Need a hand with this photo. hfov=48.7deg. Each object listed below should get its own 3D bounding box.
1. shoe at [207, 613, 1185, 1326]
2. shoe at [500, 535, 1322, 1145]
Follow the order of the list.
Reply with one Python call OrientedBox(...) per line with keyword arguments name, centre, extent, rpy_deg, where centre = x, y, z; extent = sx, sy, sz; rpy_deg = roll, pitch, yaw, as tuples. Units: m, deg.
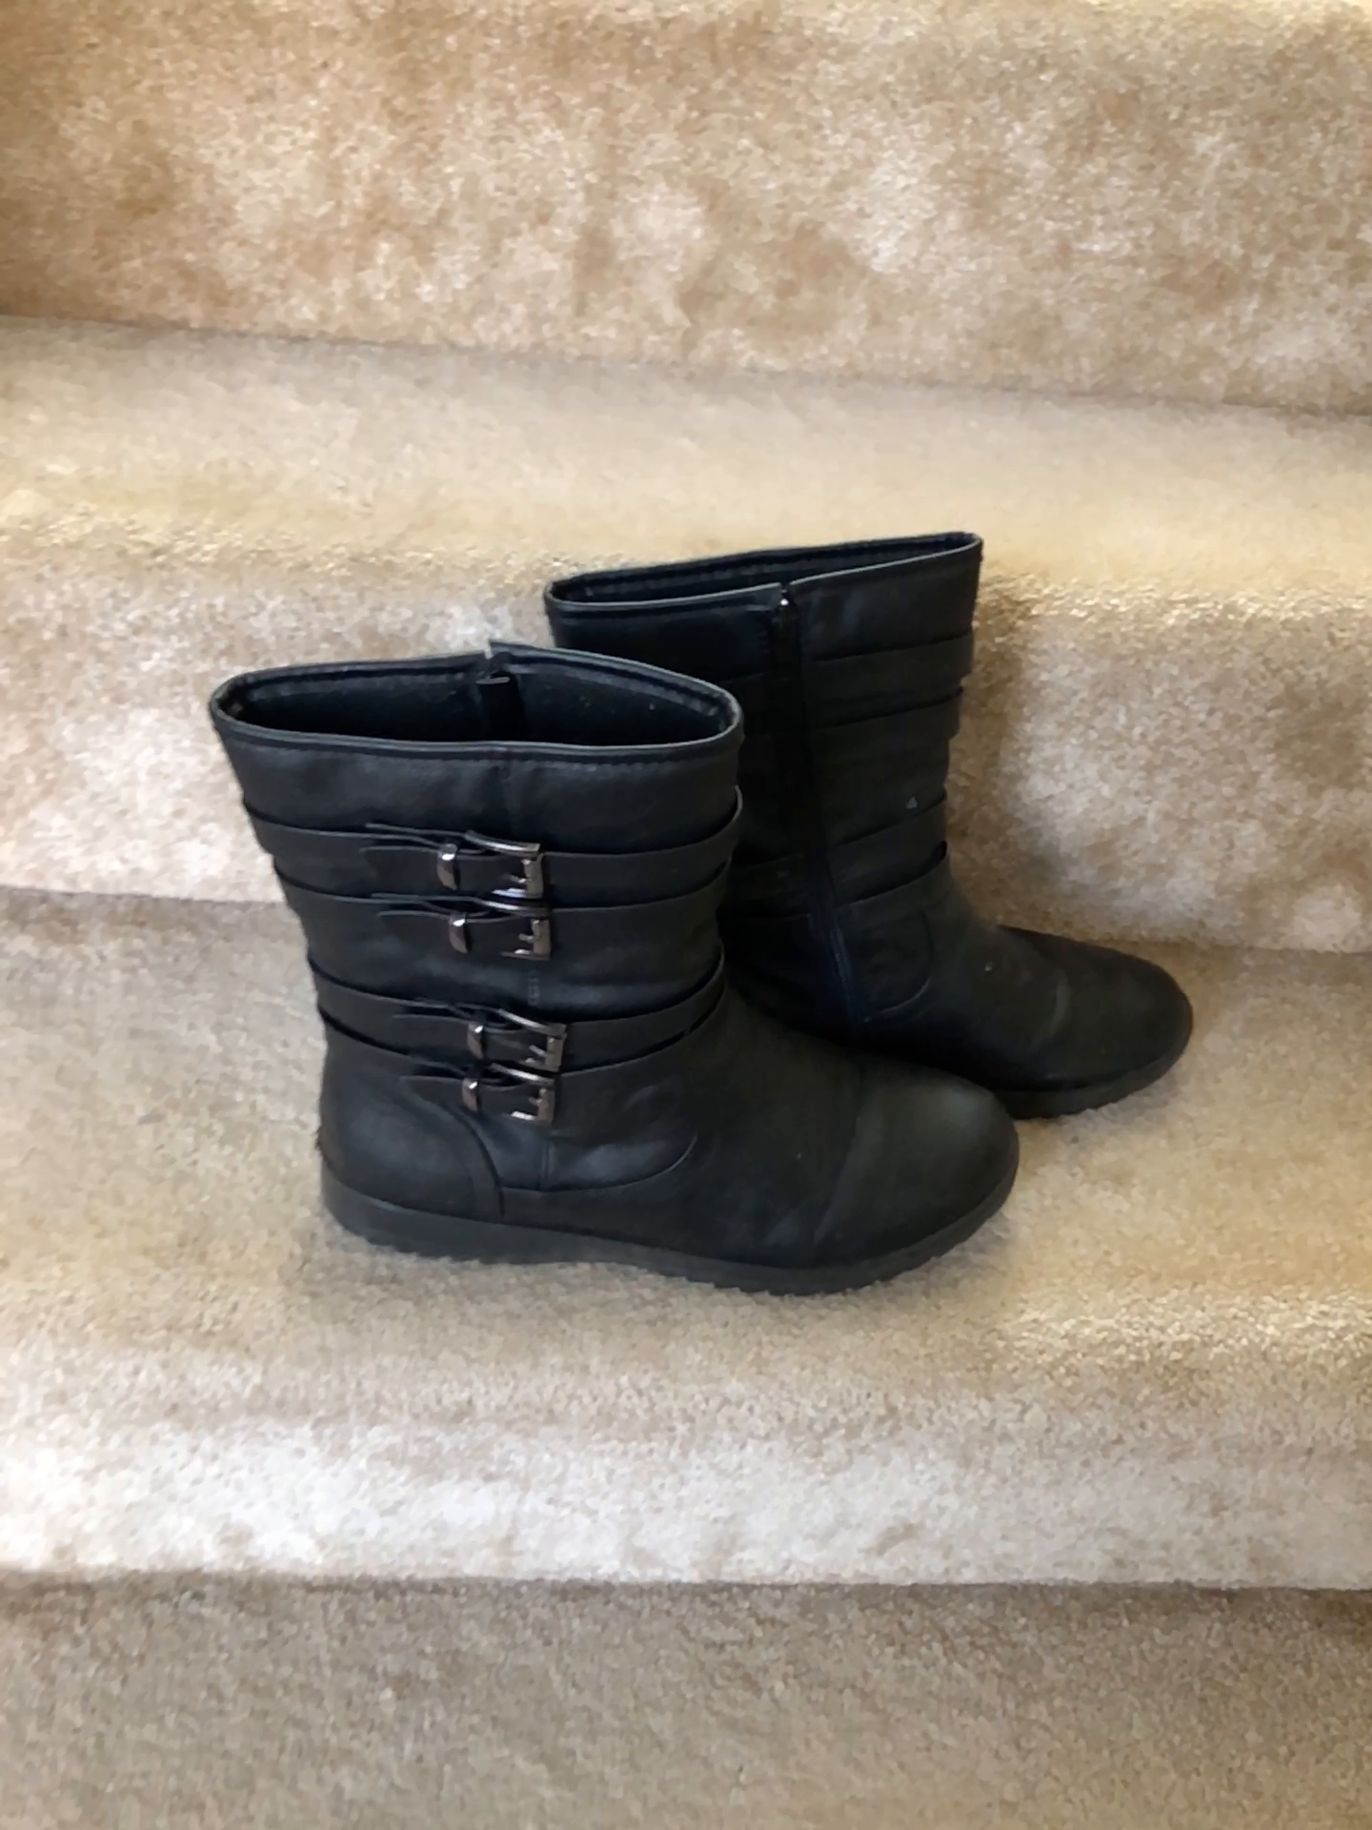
OrientedBox(name="shoe", centre=(-0.003, 0.024, 0.517), extent=(0.270, 0.199, 0.101), rpy_deg=(6, 37, -1))
OrientedBox(name="shoe", centre=(0.076, -0.026, 0.606), extent=(0.270, 0.218, 0.101), rpy_deg=(1, 37, 3))
